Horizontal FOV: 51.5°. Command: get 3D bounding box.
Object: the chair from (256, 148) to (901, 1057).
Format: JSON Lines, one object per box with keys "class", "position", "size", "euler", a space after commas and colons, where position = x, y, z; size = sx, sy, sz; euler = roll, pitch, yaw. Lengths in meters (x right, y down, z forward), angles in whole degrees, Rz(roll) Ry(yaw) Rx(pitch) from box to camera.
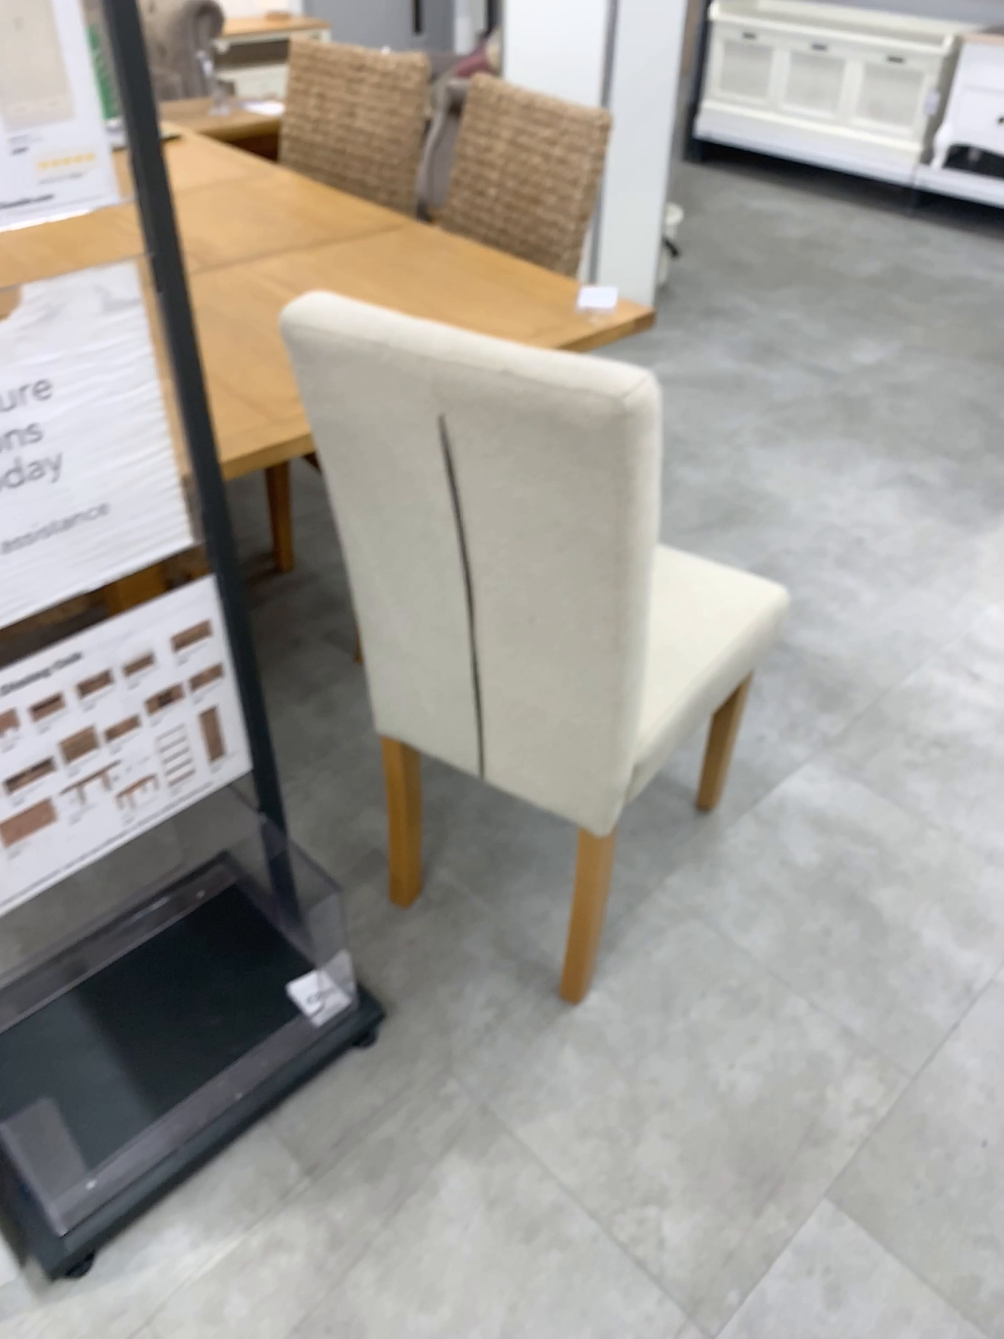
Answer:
{"class": "chair", "position": [0.112, -0.091, 1.316], "size": [0.421, 0.871, 0.615], "euler": [20, 43, 22]}
